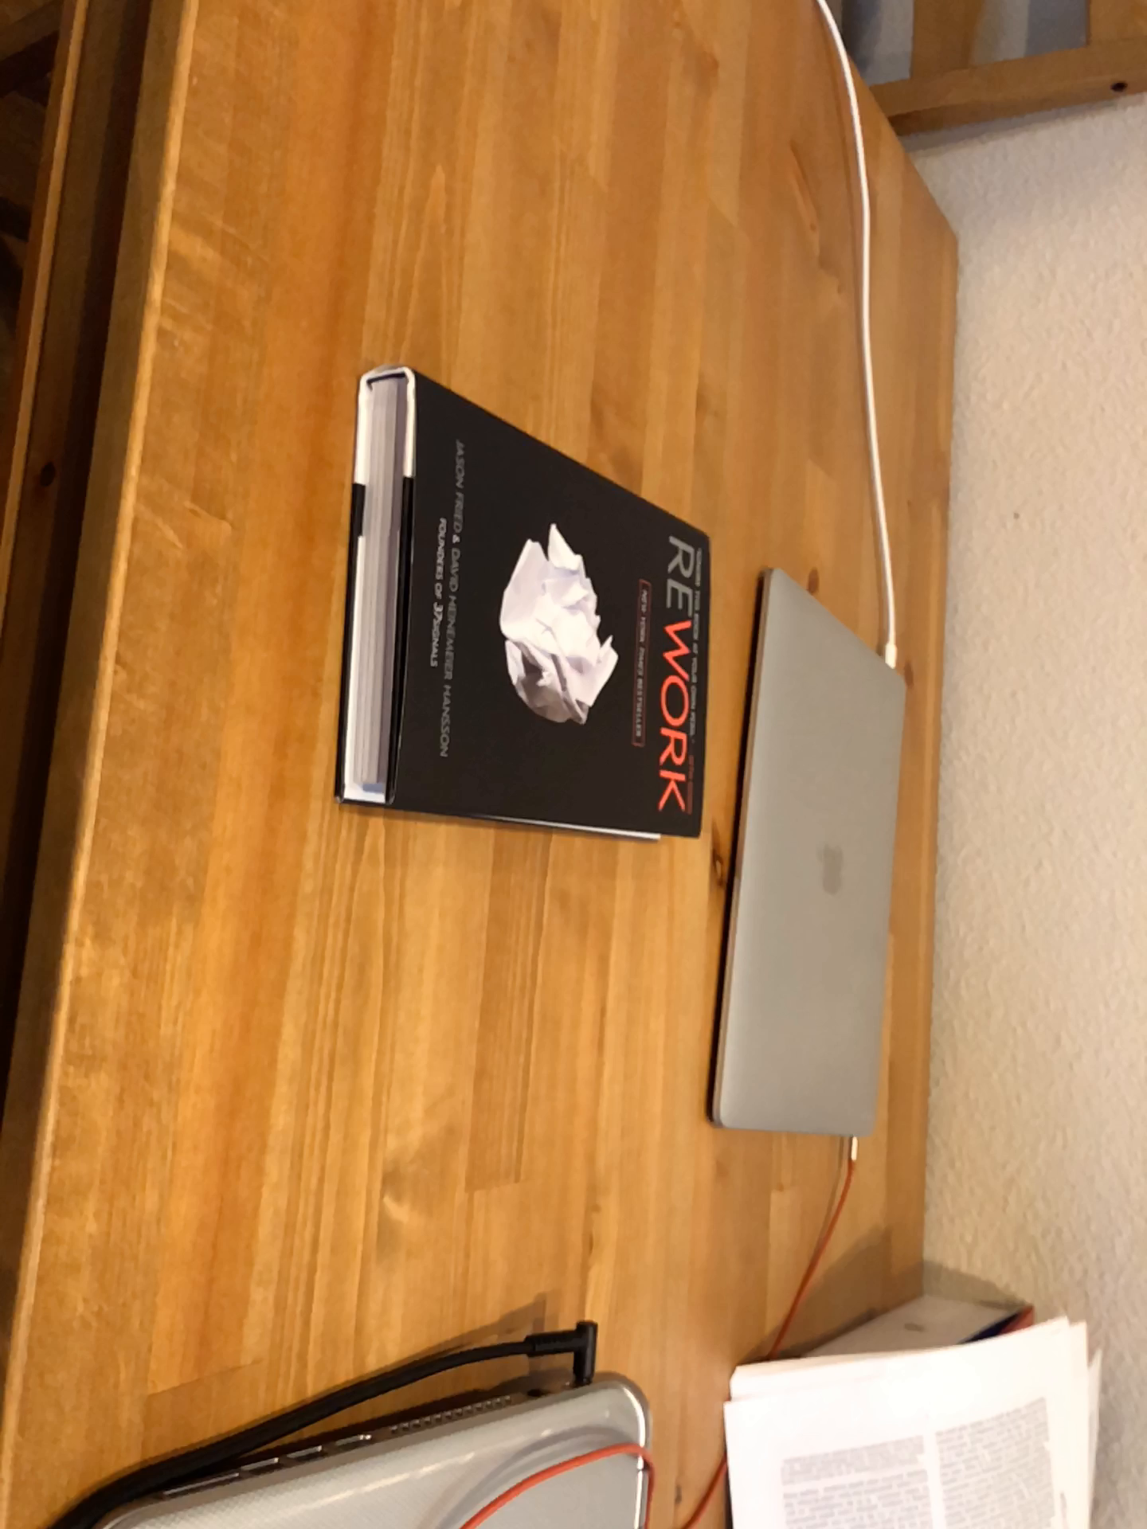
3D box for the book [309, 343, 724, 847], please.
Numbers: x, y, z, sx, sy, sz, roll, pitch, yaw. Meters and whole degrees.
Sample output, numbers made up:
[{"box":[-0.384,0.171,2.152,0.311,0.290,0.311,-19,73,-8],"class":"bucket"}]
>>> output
[{"box":[-0.008,-0.050,0.527,0.231,0.040,0.160,10,81,-57],"class":"book"}]
